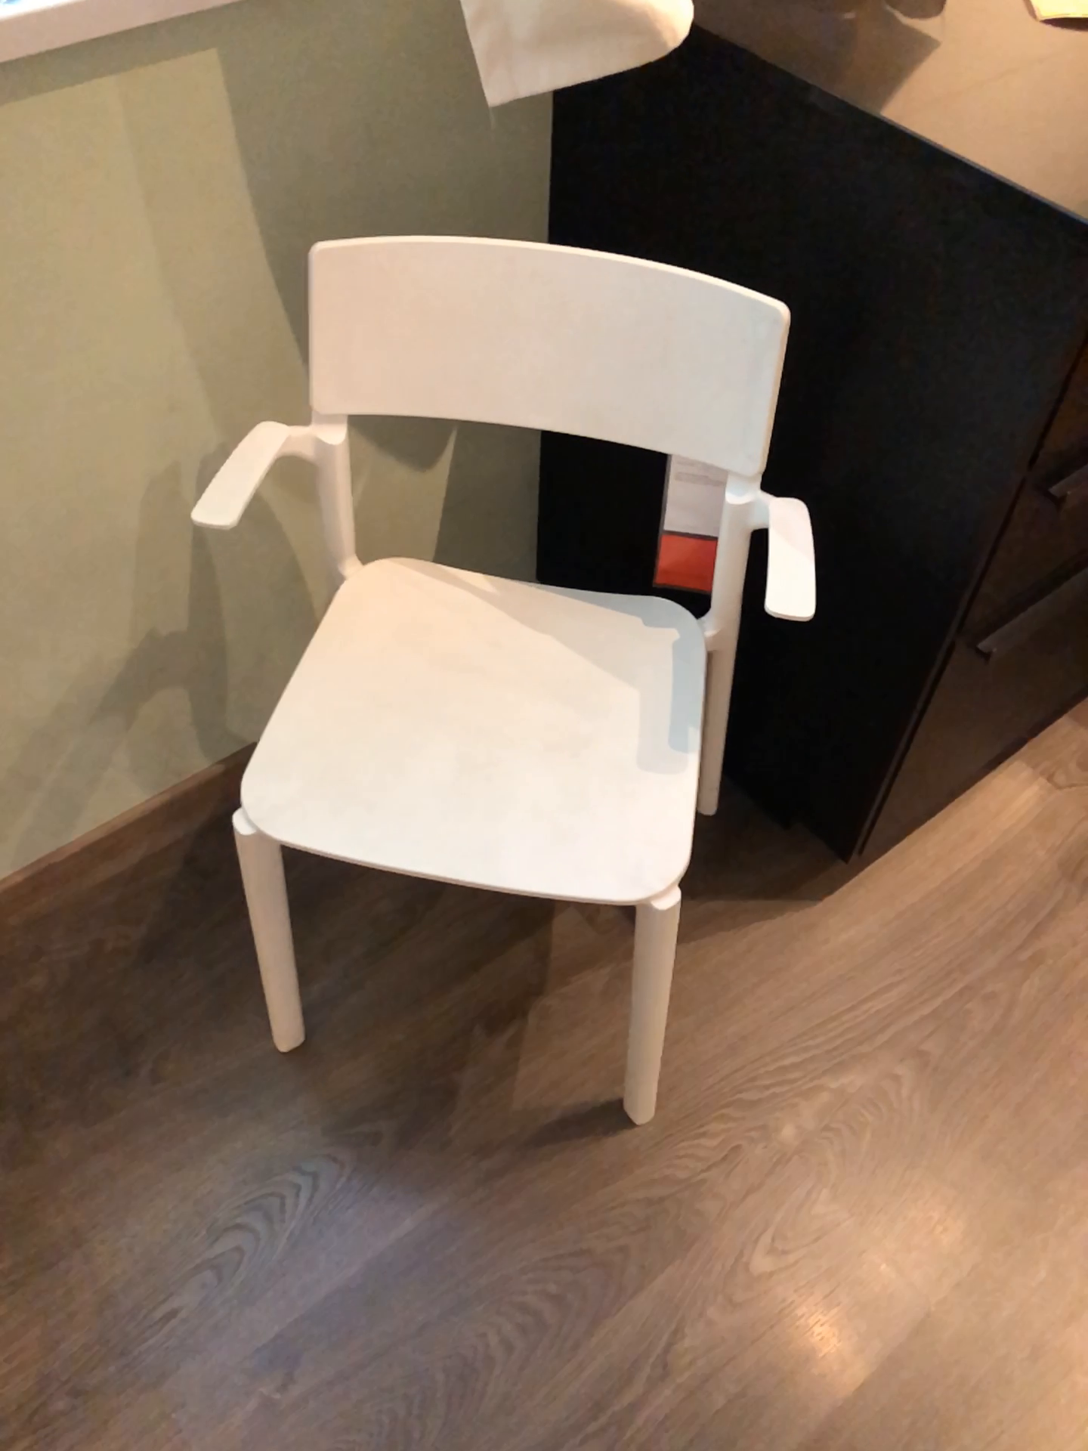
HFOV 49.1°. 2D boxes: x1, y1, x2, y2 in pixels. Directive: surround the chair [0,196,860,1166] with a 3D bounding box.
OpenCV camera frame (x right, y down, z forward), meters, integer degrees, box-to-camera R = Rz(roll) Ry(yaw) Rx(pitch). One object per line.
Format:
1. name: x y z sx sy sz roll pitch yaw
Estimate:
1. chair: -0.044 -0.015 1.250 0.560 0.755 0.583 9 51 6
